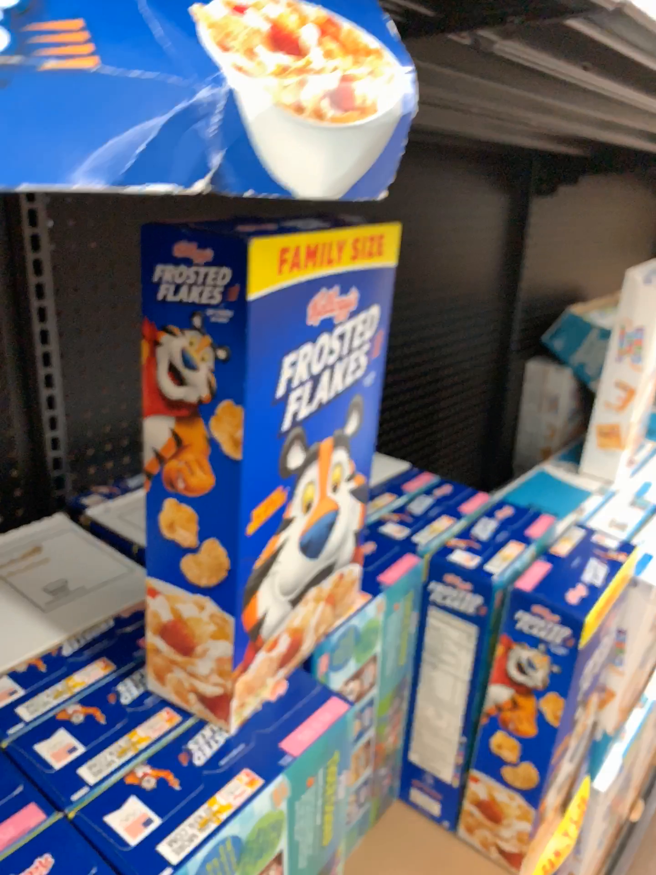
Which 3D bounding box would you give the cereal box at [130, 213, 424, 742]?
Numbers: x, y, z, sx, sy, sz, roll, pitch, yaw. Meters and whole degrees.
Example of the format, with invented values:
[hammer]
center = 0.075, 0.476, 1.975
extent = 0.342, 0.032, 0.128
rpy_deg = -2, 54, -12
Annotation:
[cereal box]
center = -0.031, 0.012, 0.495
extent = 0.080, 0.319, 0.211
rpy_deg = 17, 24, 27
